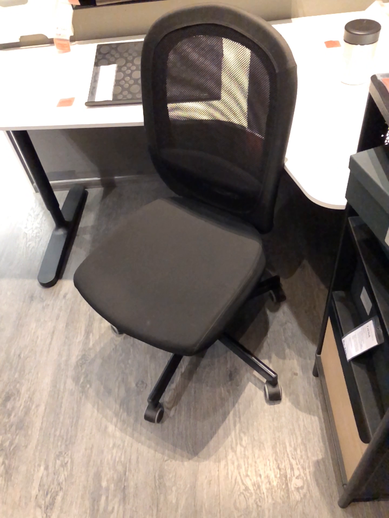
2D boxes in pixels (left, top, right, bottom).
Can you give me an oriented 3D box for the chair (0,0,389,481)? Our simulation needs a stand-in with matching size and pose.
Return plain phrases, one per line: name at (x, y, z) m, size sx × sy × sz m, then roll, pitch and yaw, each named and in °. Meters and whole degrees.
chair at (-0.017, -0.074, 1.084) m, size 0.632 × 0.884 × 0.712 m, roll 23°, pitch 56°, yaw 26°
